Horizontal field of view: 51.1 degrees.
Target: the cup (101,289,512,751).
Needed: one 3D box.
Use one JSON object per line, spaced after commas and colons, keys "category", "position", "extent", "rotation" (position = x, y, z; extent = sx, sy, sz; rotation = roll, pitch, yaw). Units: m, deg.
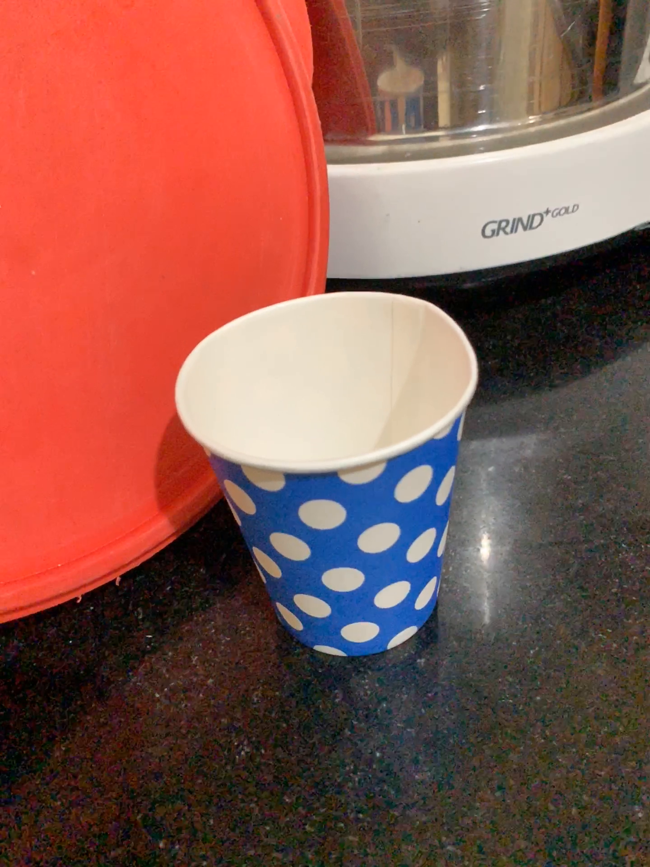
{"category": "cup", "position": [0.004, 0.018, 0.175], "extent": [0.070, 0.079, 0.070], "rotation": [-5, 37, 4]}
